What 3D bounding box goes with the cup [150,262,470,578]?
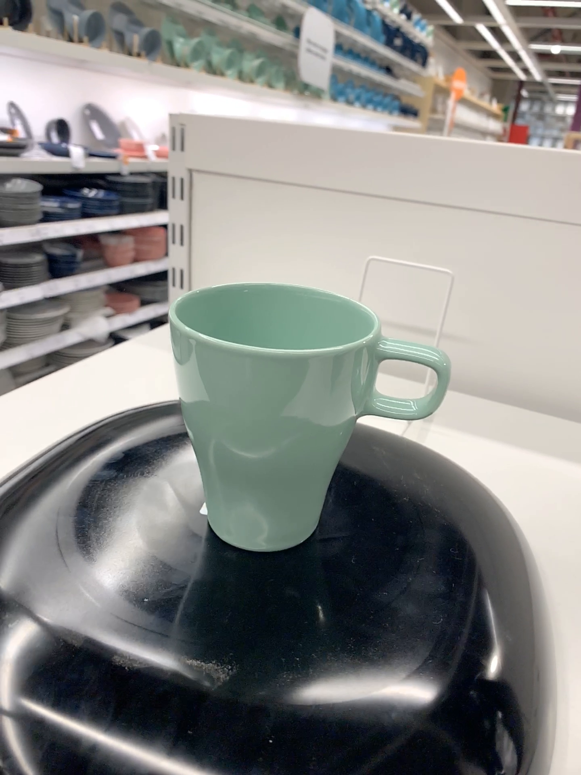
[{"bbox_3d":[0.005,0.009,0.263,0.110,0.100,0.080,7,23,3],"label":"cup"}]
